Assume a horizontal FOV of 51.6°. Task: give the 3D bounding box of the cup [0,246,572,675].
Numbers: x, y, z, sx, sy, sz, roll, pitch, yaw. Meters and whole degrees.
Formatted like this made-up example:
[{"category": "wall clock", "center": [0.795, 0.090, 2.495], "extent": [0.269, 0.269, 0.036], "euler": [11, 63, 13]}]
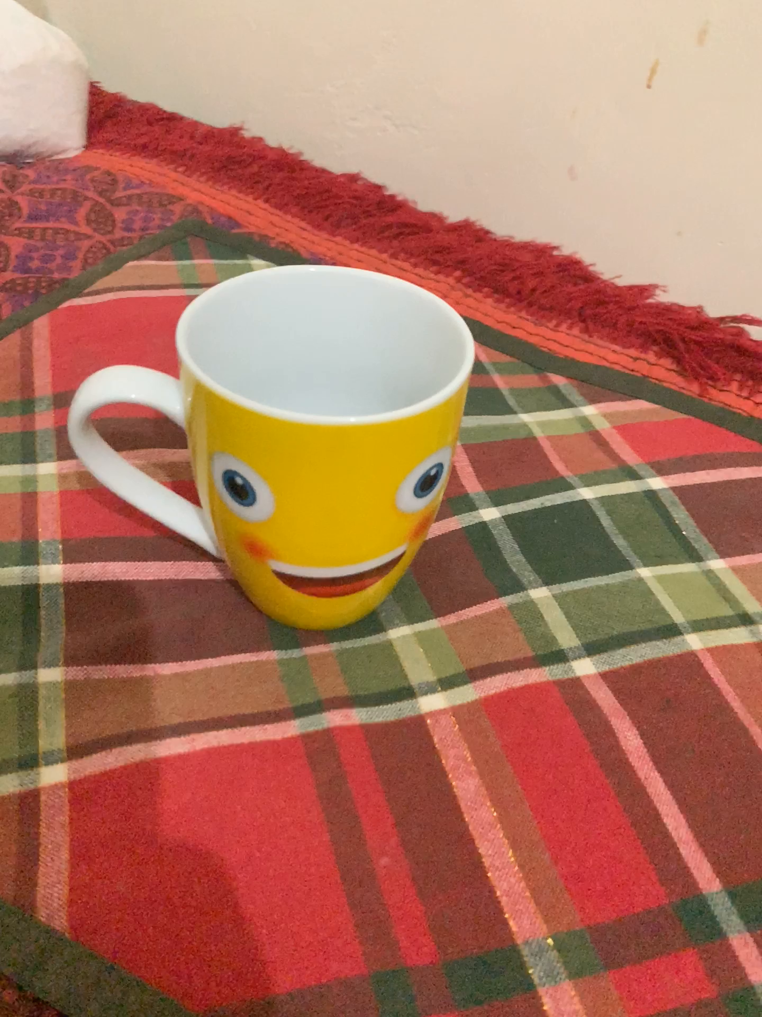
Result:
[{"category": "cup", "center": [-0.027, -0.015, 0.216], "extent": [0.120, 0.080, 0.080], "euler": [-2, 45, -8]}]
